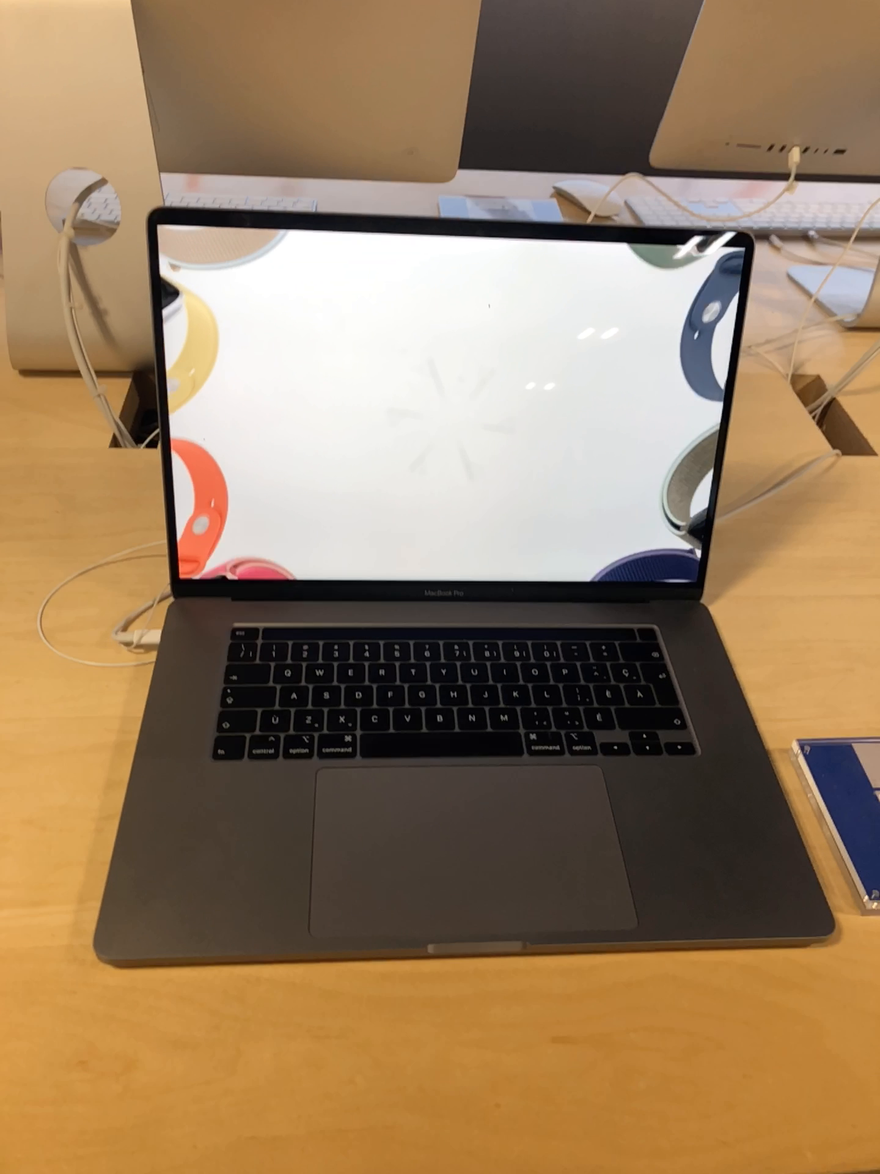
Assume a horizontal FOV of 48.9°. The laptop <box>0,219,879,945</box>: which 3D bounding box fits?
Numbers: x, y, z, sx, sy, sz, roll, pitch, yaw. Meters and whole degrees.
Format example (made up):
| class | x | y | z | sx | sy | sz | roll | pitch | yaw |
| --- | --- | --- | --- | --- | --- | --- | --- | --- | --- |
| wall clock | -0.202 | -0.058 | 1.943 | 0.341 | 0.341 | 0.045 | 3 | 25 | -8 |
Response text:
| class | x | y | z | sx | sy | sz | roll | pitch | yaw |
| --- | --- | --- | --- | --- | --- | --- | --- | --- | --- |
| laptop | 0.015 | -0.018 | 0.517 | 0.352 | 0.230 | 0.316 | 0 | 40 | -5 |
